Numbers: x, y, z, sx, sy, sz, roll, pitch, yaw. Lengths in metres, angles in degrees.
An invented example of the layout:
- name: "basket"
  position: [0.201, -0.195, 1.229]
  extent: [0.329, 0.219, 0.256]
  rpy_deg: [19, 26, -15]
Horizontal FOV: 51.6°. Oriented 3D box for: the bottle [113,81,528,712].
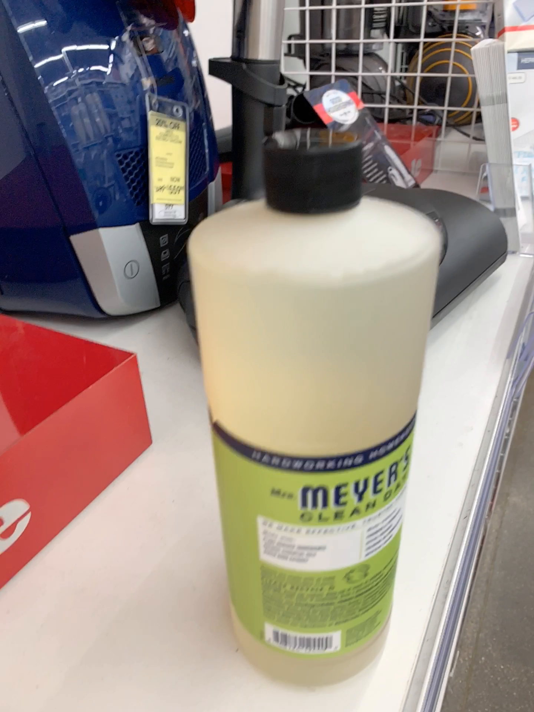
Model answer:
- name: "bottle"
  position: [0.014, 0.027, 0.228]
  extent: [0.090, 0.239, 0.090]
  rpy_deg: [-2, 32, 1]
